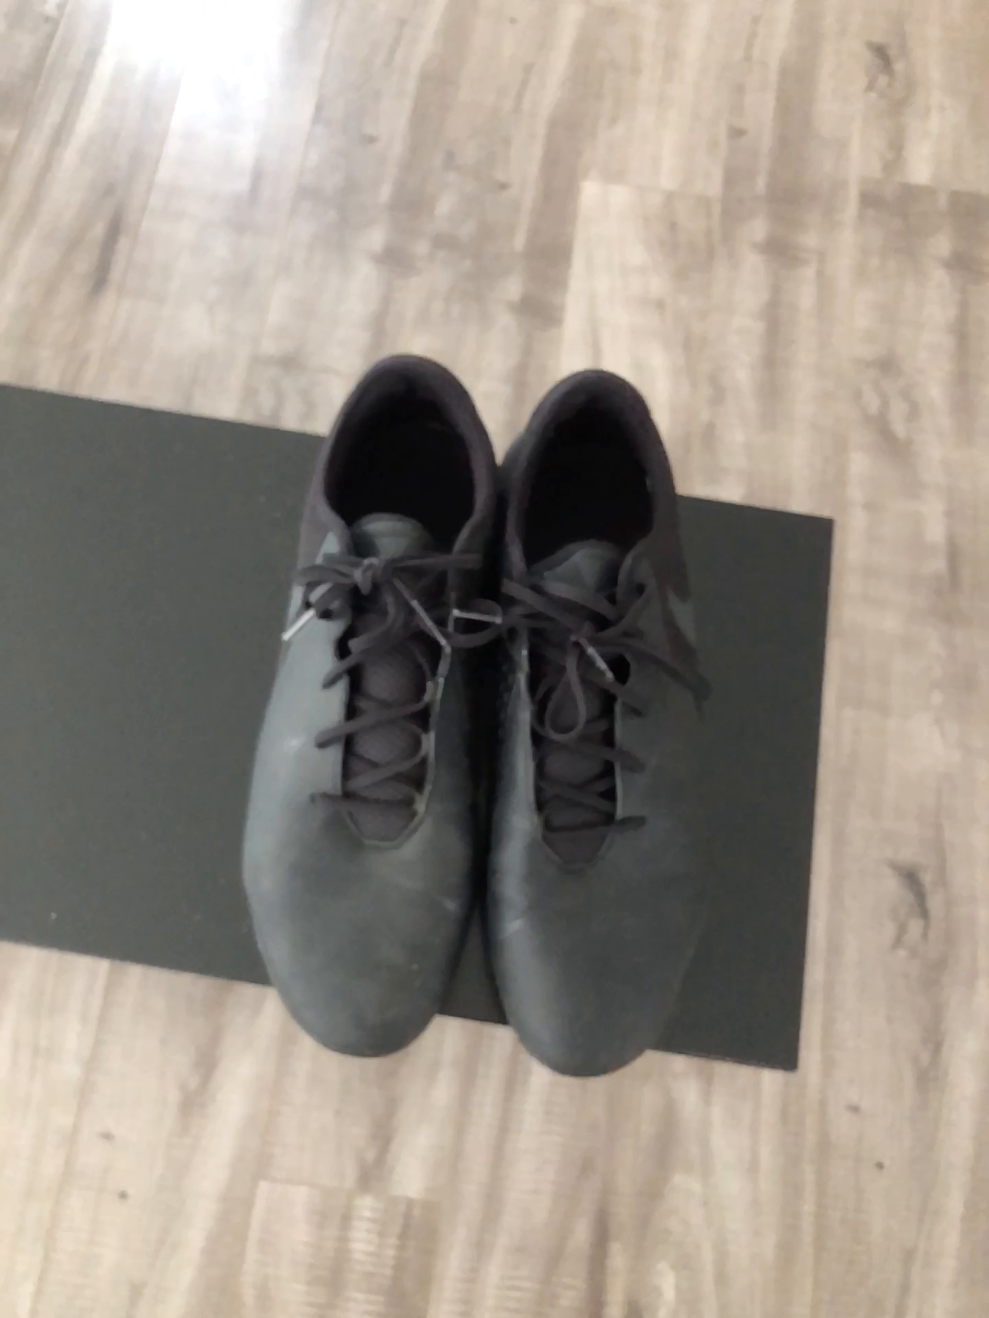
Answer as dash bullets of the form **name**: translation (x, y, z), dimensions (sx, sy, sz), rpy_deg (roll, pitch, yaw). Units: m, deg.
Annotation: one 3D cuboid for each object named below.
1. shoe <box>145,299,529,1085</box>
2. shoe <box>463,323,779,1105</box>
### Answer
- **shoe**: translation (-0.053, 0.013, 0.461), dimensions (0.100, 0.110, 0.294), rpy_deg (6, 71, -1)
- **shoe**: translation (0.046, 0.022, 0.460), dimensions (0.100, 0.110, 0.294), rpy_deg (3, 71, -2)
